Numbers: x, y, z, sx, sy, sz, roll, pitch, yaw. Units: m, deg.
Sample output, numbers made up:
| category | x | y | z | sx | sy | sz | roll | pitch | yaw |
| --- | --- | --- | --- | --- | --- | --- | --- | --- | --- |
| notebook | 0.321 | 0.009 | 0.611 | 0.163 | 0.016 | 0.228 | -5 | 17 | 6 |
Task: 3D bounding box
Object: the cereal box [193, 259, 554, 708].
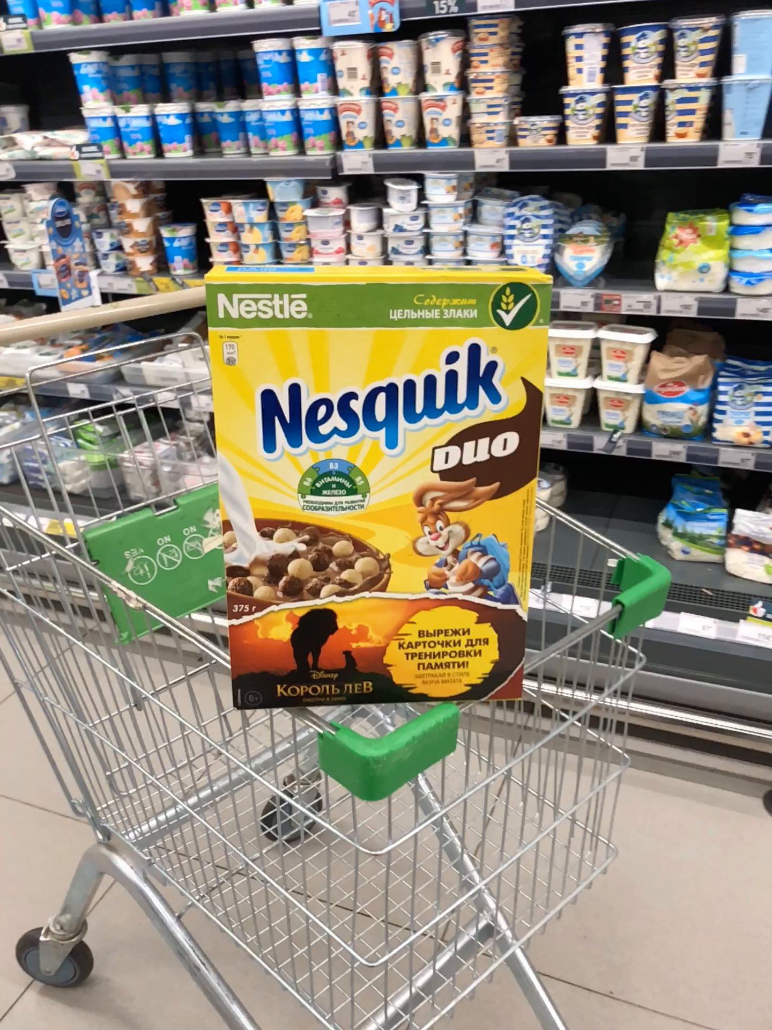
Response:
| category | x | y | z | sx | sy | sz | roll | pitch | yaw |
| --- | --- | --- | --- | --- | --- | --- | --- | --- | --- |
| cereal box | -0.009 | -0.016 | 0.544 | 0.200 | 0.279 | 0.060 | -1 | 20 | -4 |
